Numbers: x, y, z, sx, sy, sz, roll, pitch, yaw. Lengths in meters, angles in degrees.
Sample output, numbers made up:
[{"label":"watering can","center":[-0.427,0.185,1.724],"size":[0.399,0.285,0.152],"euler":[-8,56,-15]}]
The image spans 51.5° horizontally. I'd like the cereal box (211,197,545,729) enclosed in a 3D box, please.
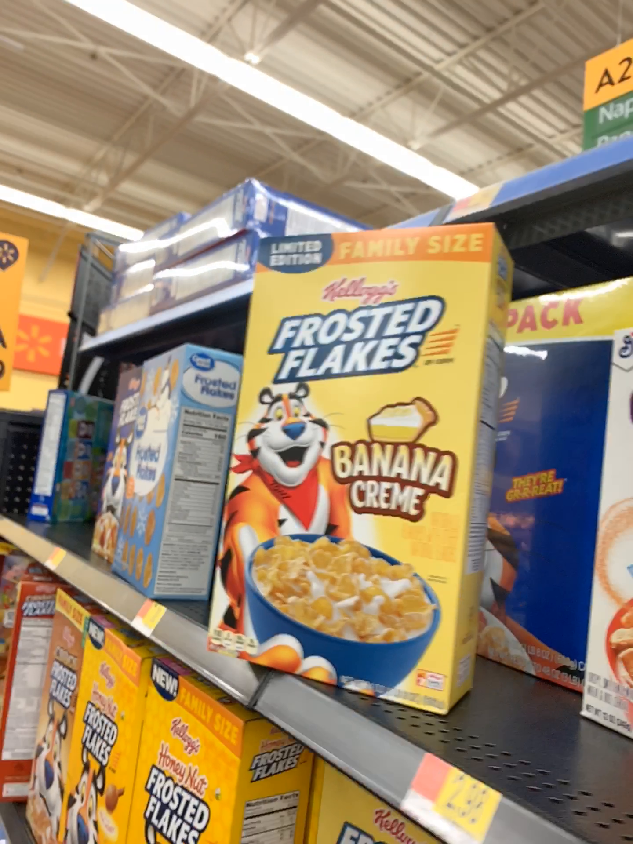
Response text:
[{"label":"cereal box","center":[0.049,0.017,0.498],"size":[0.200,0.340,0.080],"euler":[4,-6,26]}]
